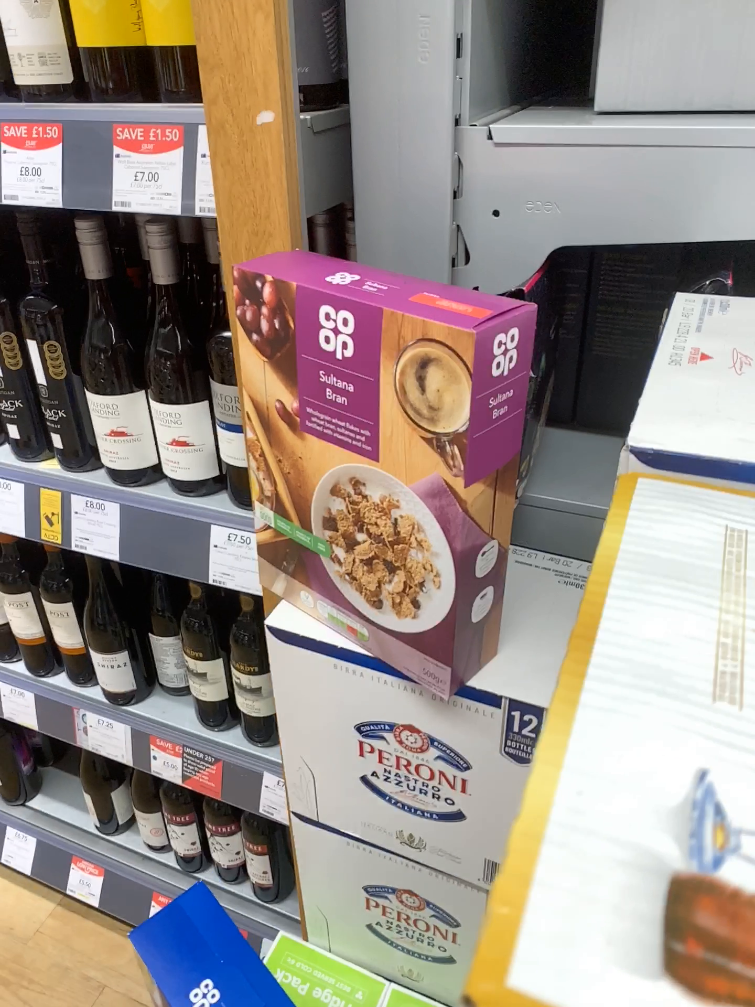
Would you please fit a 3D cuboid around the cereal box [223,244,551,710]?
[{"bbox_3d":[0.000,-0.022,0.525,0.201,0.257,0.070,25,40,36],"label":"cereal box"}]
